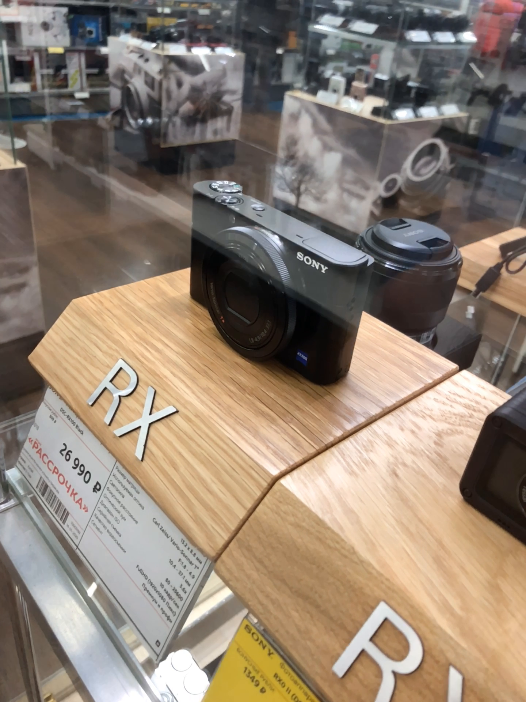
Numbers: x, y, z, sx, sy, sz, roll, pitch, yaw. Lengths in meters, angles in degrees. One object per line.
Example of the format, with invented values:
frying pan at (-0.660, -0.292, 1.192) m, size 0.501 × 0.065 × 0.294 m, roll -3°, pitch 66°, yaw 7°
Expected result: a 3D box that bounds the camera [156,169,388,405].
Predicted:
camera at (-0.003, -0.034, 0.265) m, size 0.037 × 0.062 × 0.106 m, roll -22°, pitch 43°, yaw -37°
